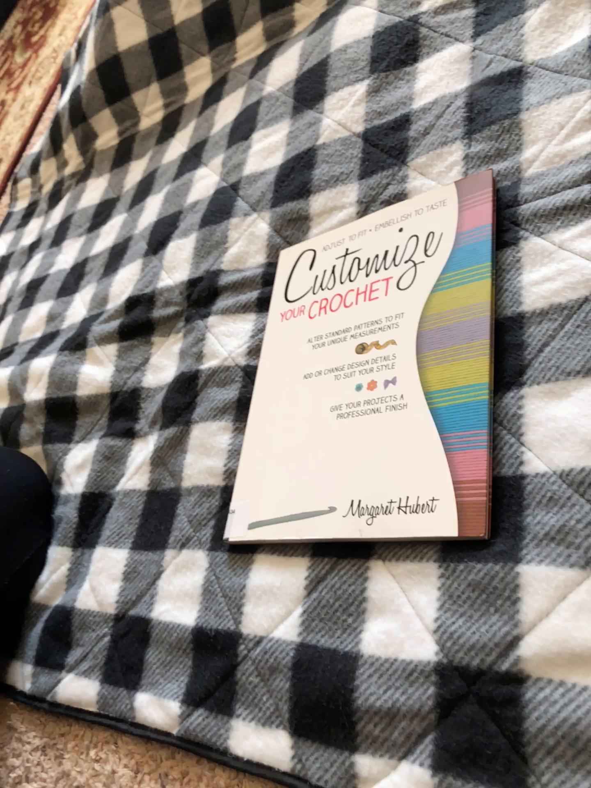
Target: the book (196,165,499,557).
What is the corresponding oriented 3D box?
[{"bbox_3d":[0.033,-0.017,0.420,0.187,0.020,0.238,-11,58,38],"label":"book"}]
